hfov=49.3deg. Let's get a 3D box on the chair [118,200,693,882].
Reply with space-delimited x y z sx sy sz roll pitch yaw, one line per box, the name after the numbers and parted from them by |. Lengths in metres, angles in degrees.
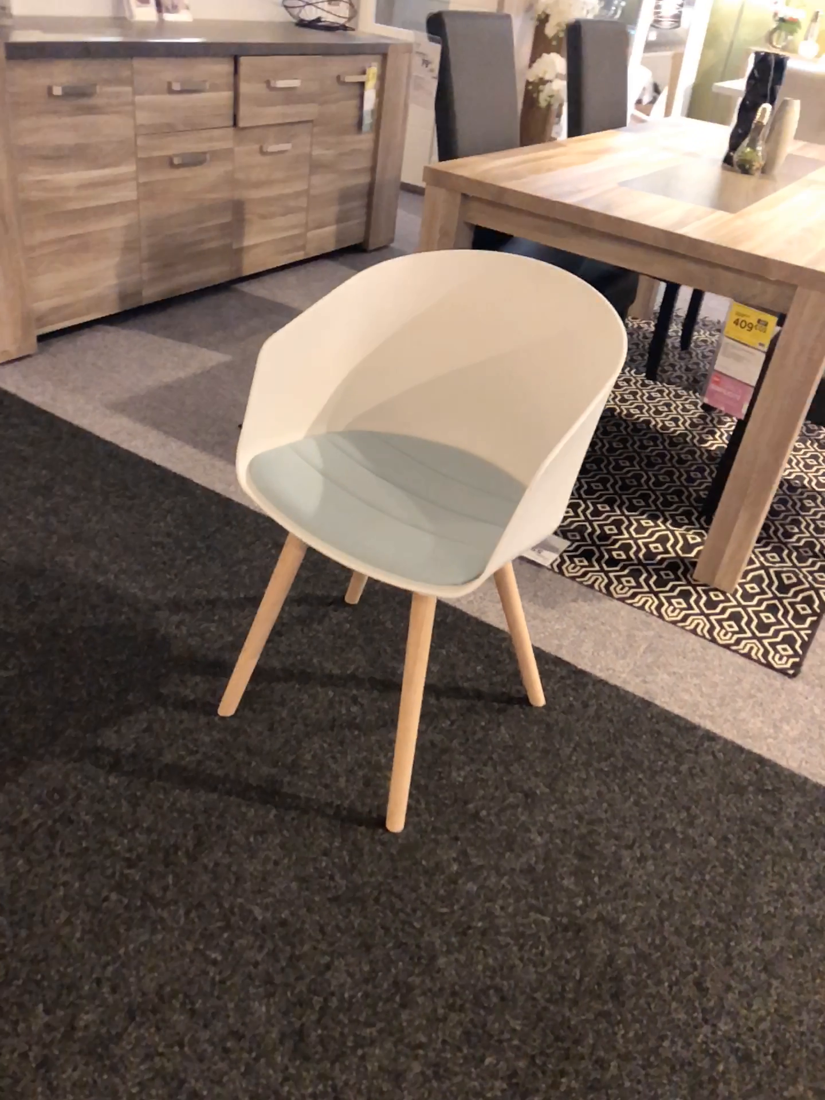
-0.027 -0.061 1.429 0.550 0.765 0.584 26 37 26 | chair
